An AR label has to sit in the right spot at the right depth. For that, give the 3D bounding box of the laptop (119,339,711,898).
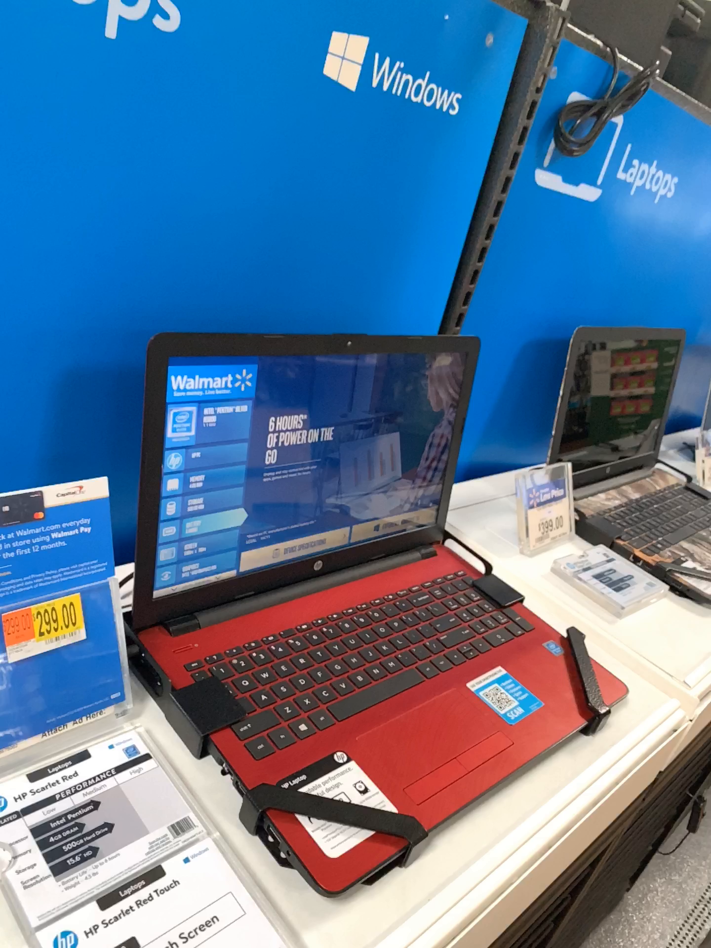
[{"bbox_3d":[0.059,0.053,0.581,0.365,0.223,0.280,-10,36,-43],"label":"laptop"}]
